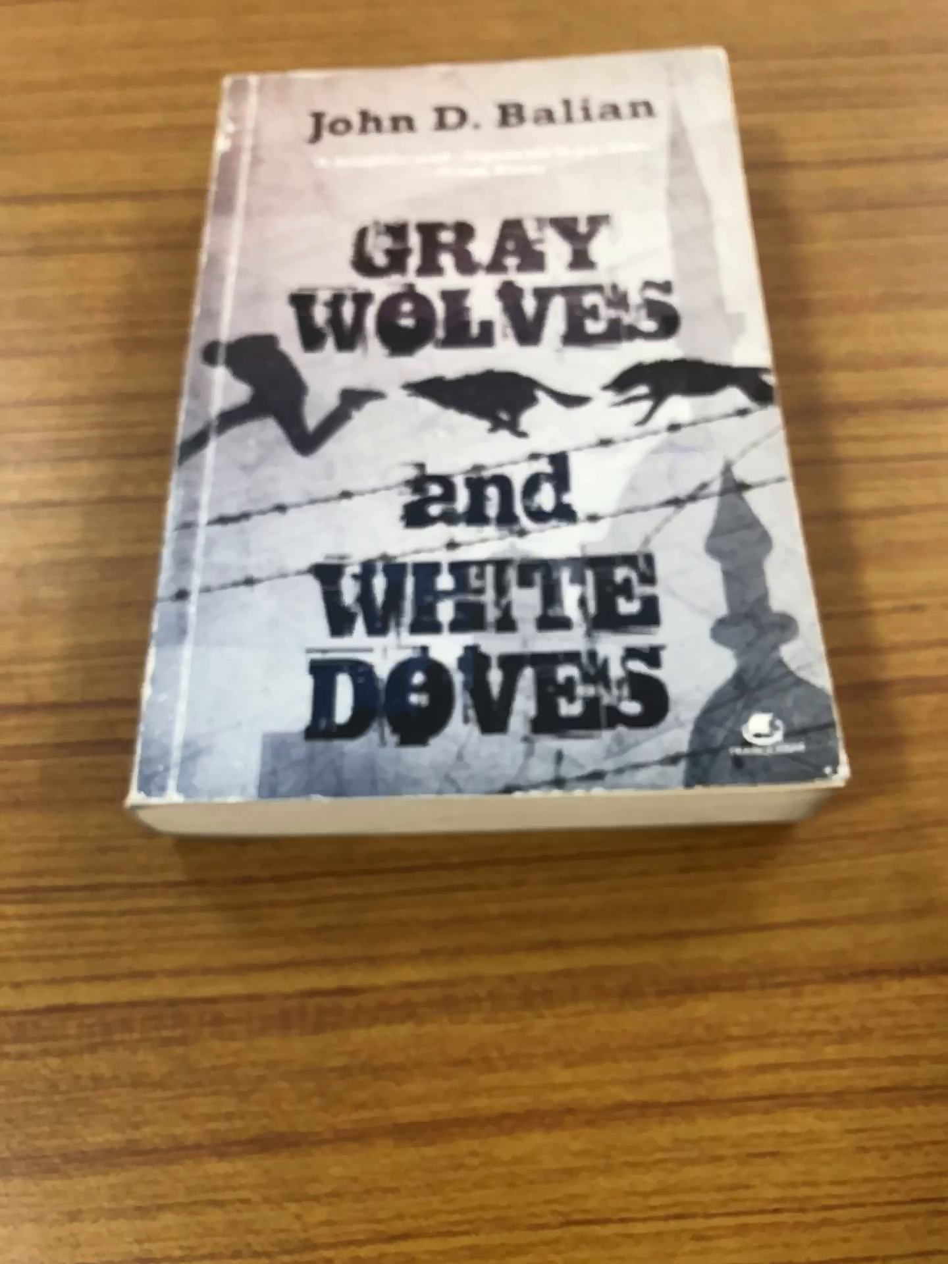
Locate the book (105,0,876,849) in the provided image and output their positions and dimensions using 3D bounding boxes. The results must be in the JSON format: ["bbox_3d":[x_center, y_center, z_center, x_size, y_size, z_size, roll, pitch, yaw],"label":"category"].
[{"bbox_3d":[0.002,-0.060,0.242,0.130,0.030,0.210,-2,64,4],"label":"book"}]
